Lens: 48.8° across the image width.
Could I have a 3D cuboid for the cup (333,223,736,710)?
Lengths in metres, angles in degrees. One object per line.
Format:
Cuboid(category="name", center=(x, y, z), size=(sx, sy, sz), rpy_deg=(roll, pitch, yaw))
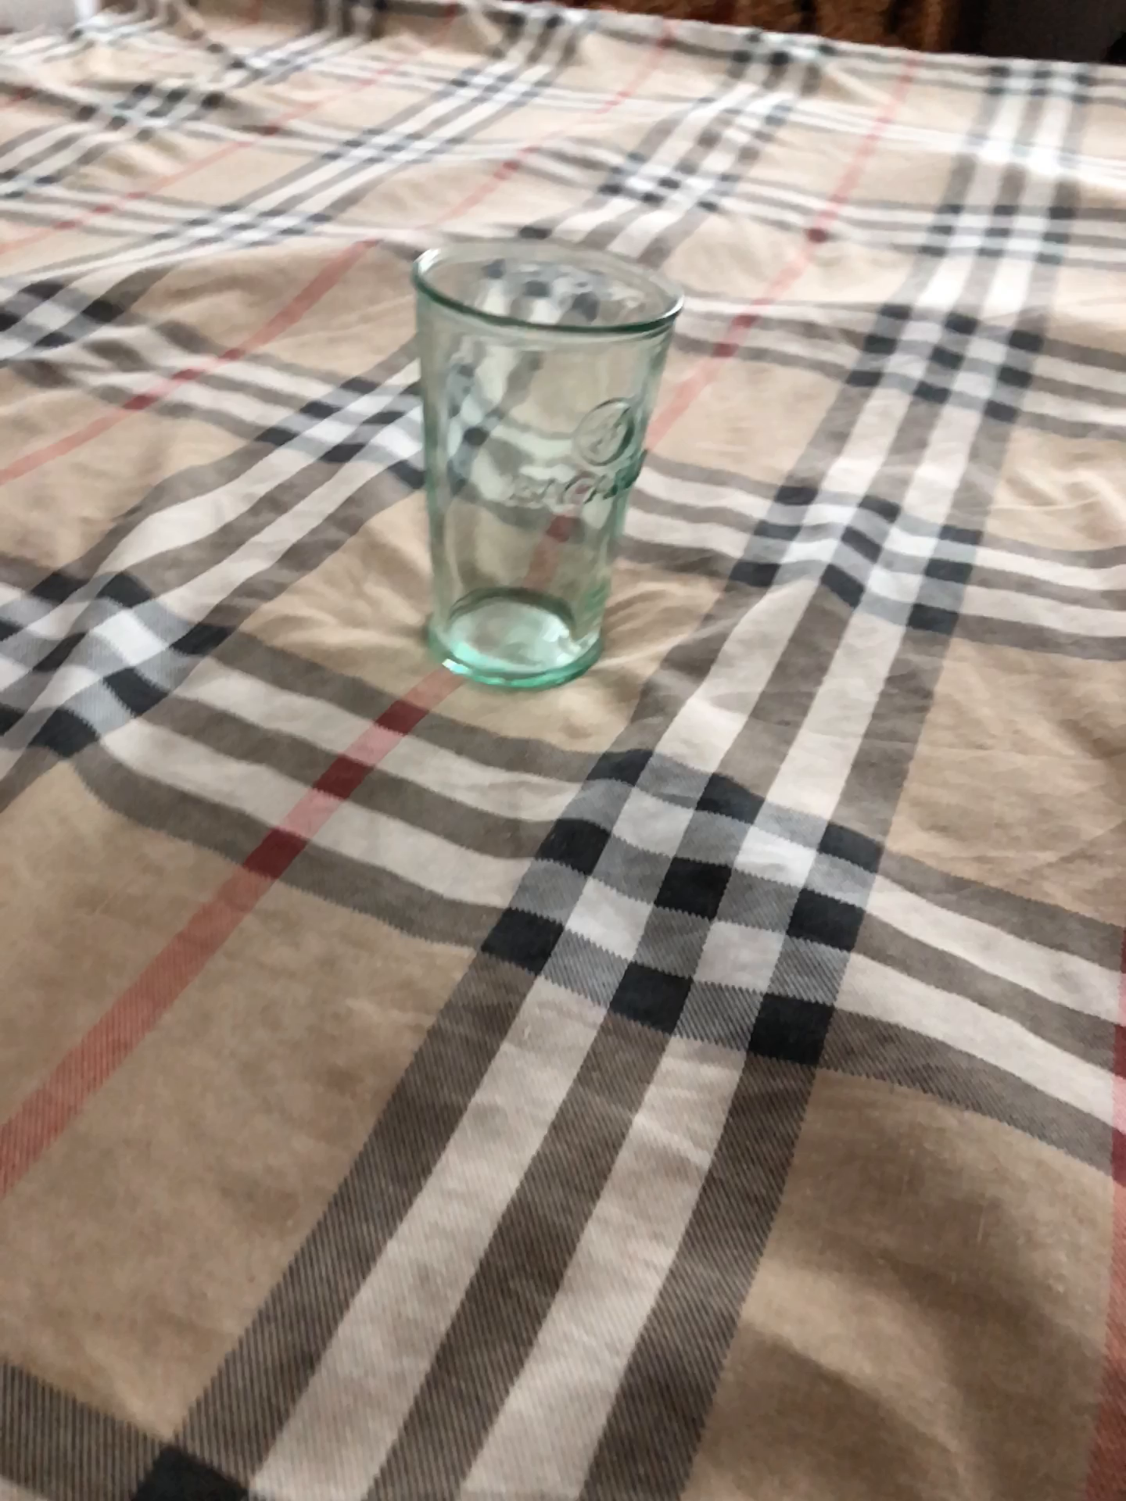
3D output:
Cuboid(category="cup", center=(-0.012, -0.090, 0.383), size=(0.085, 0.112, 0.082), rpy_deg=(2, 36, -1))
